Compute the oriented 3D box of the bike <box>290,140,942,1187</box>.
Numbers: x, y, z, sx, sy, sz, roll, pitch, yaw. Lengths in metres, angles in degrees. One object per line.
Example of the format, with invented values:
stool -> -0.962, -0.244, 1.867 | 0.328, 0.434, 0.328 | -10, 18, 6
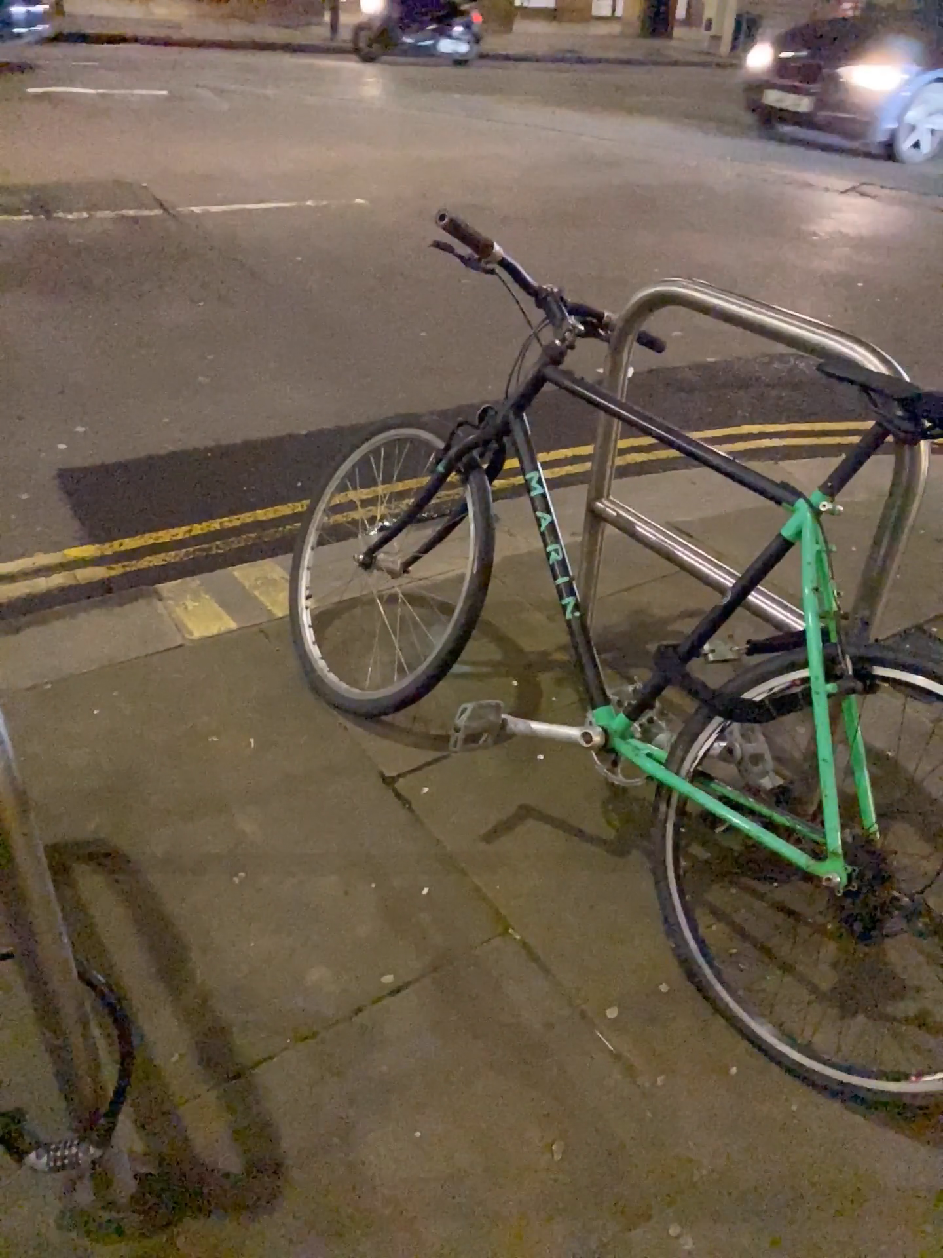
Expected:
bike -> 0.415, -0.165, 1.727 | 0.640, 1.014, 1.691 | -24, 43, -33
